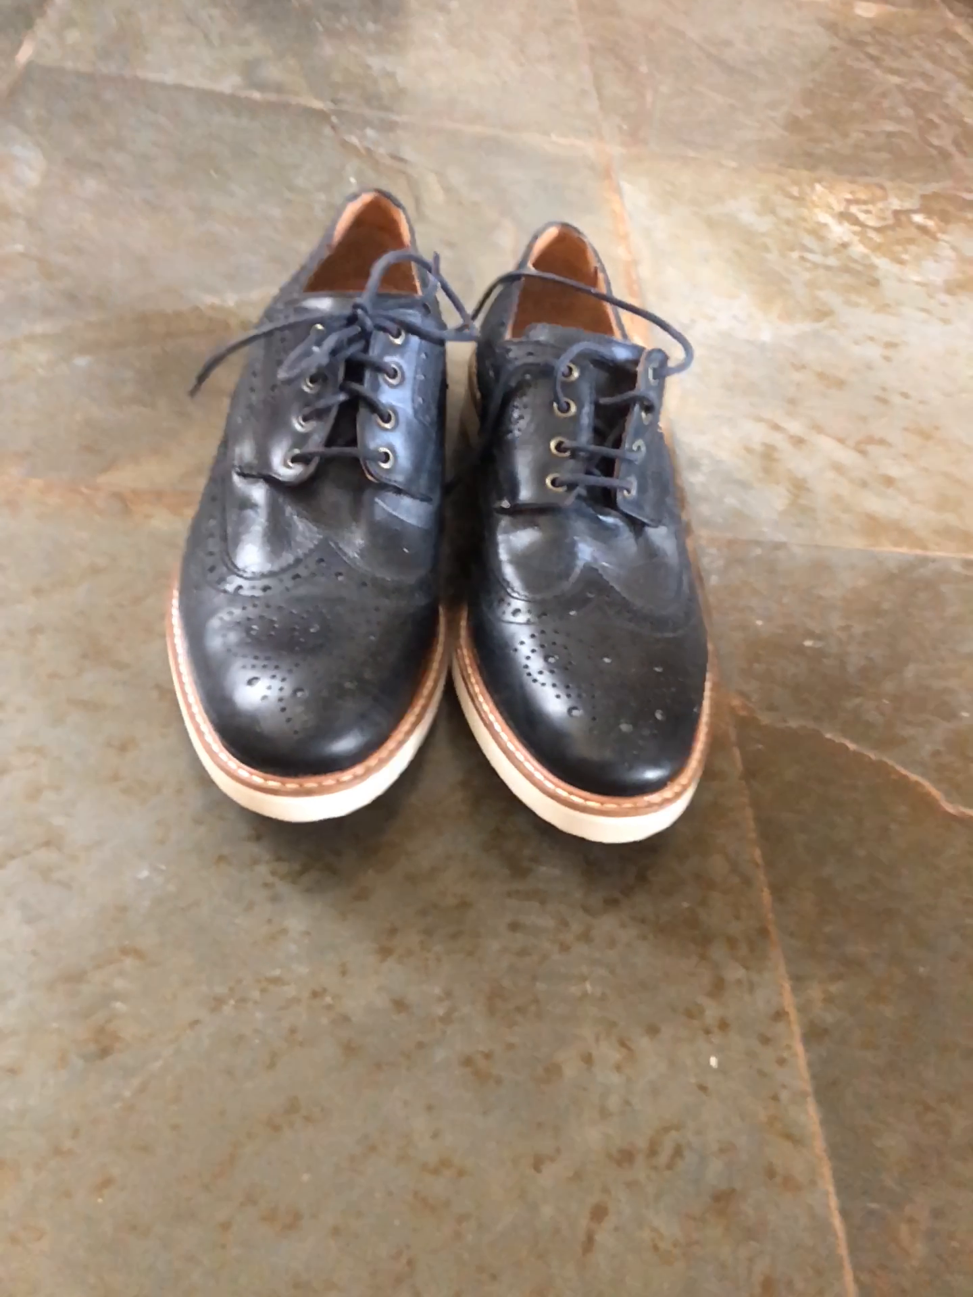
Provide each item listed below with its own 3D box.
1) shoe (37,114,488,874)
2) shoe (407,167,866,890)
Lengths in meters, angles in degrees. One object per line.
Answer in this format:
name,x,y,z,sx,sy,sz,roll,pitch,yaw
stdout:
shoe,-0.065,-0.074,0.397,0.110,0.099,0.292,5,50,-8
shoe,0.033,-0.065,0.429,0.110,0.099,0.302,2,50,-10
